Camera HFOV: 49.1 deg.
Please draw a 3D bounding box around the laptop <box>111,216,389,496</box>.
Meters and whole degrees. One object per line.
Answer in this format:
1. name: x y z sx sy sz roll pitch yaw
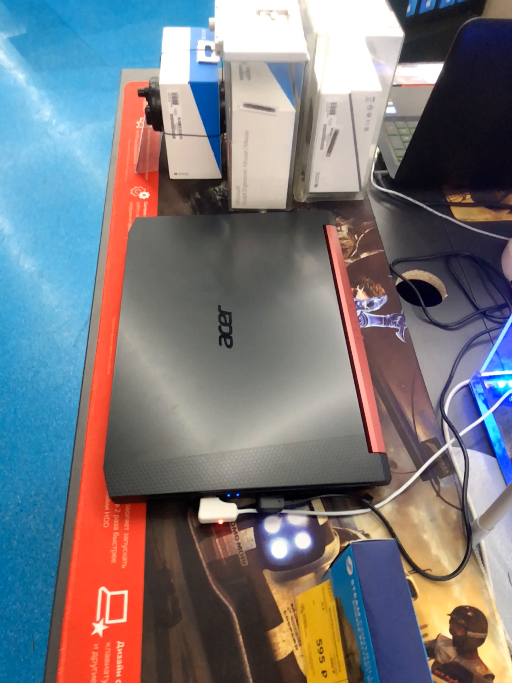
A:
1. laptop: -0.017 -0.012 0.596 0.242 0.005 0.352 -3 53 -3
